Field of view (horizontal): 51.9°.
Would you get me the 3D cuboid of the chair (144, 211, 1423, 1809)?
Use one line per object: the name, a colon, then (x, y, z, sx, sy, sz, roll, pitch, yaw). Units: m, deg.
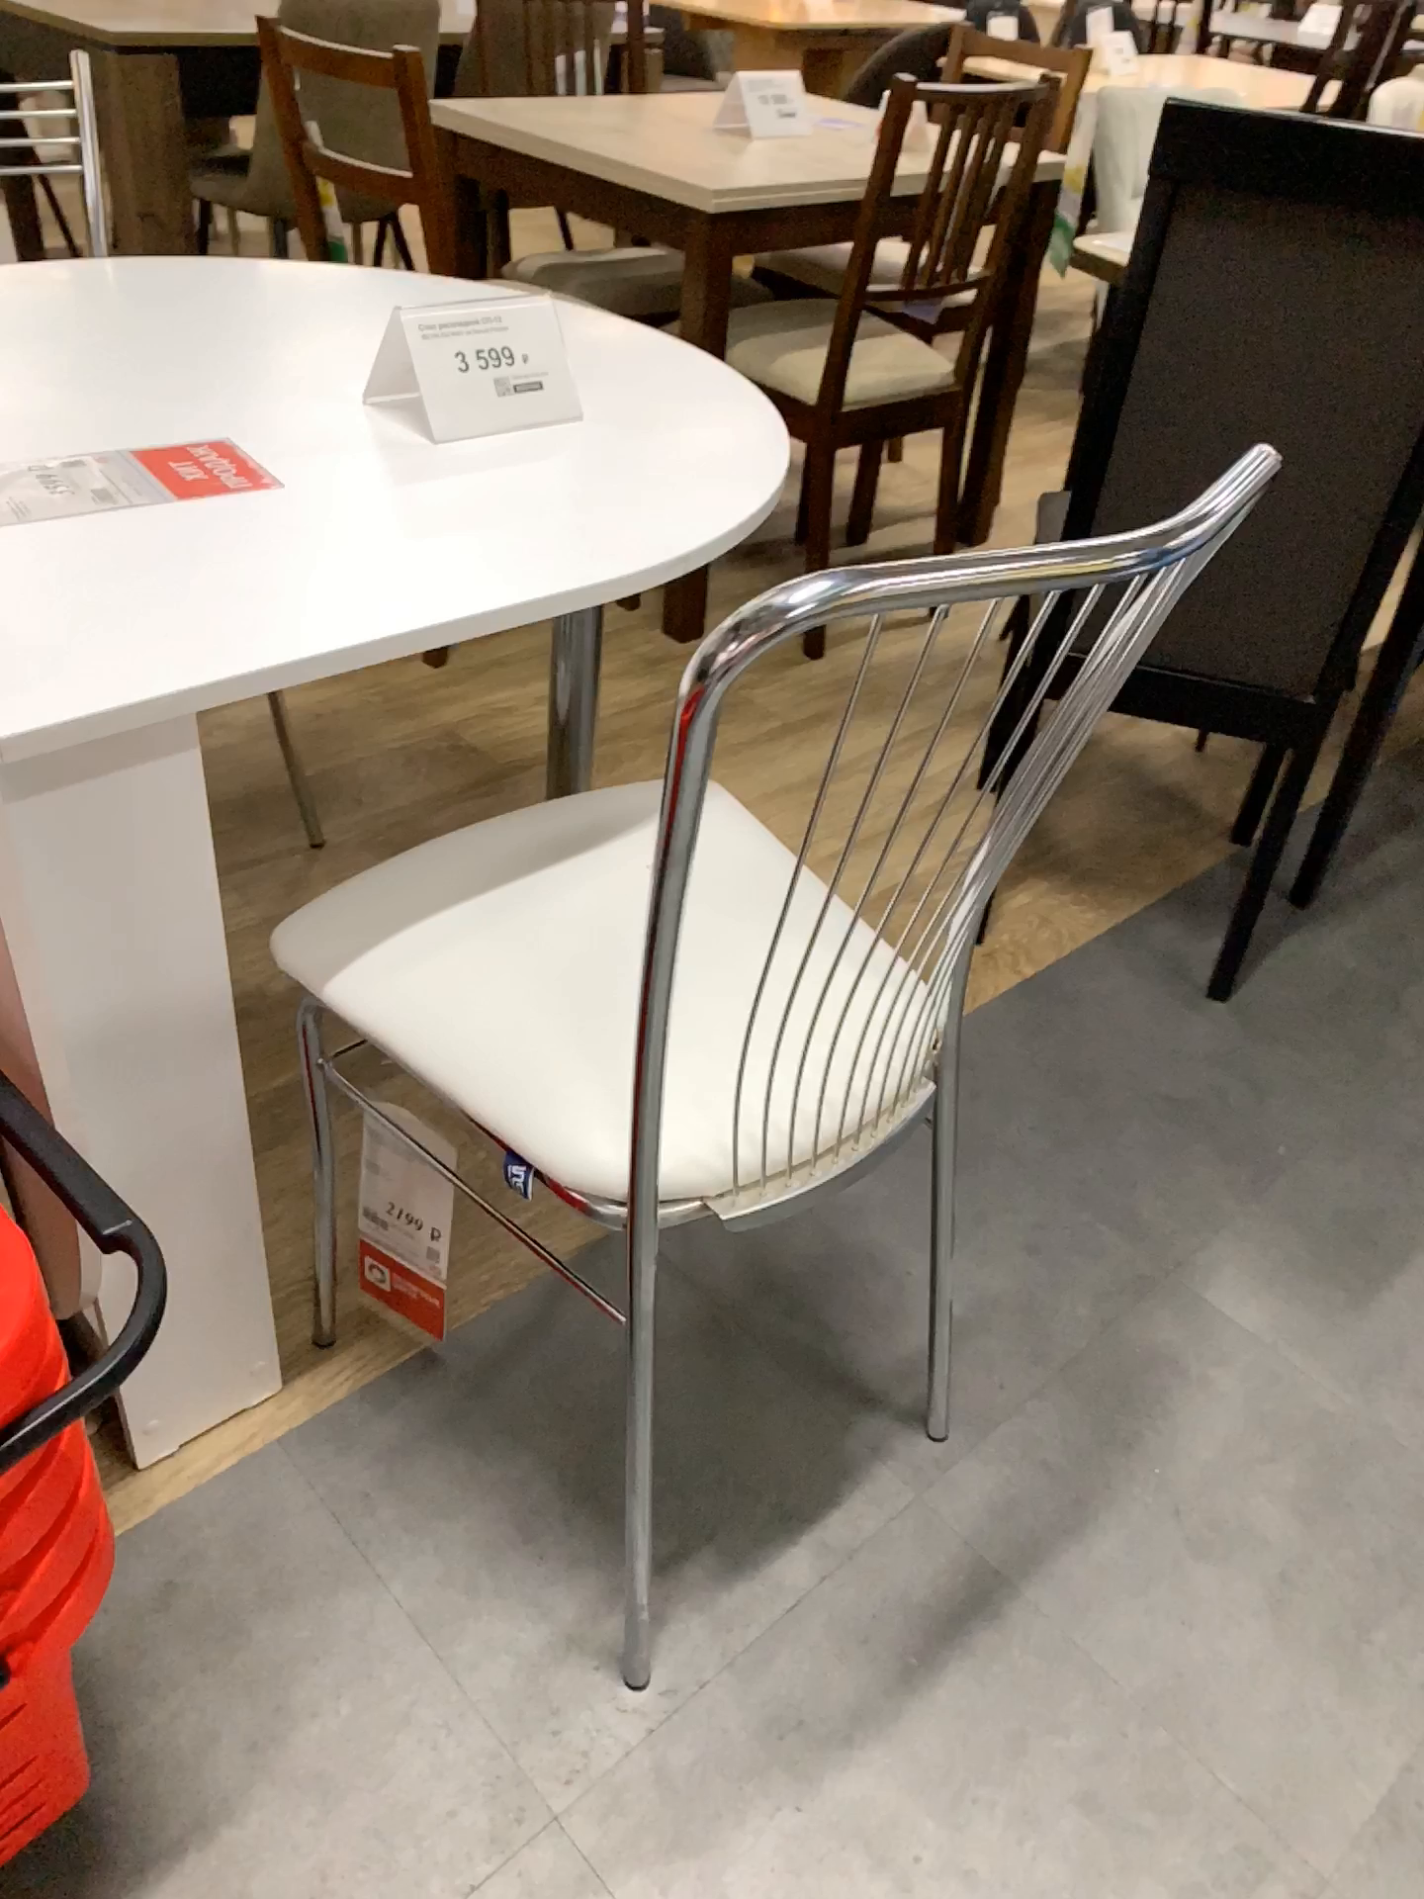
chair: (-0.007, 0.051, 1.091, 0.452, 0.954, 0.551, -27, 48, -35)
